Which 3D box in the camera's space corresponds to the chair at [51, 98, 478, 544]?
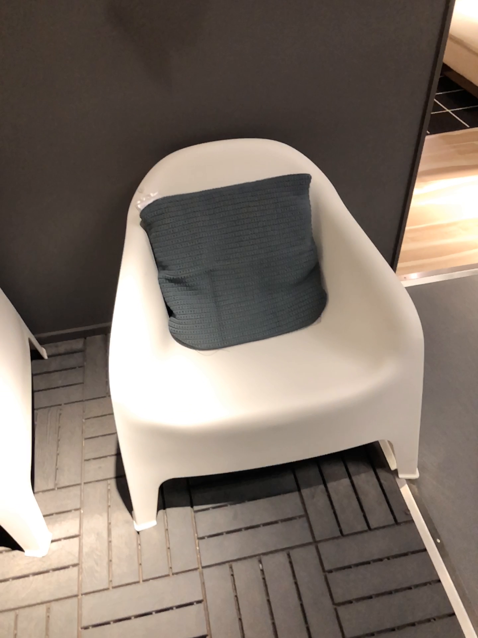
[{"bbox_3d":[0.034,-0.024,1.437,0.830,0.765,0.785,-10,44,-8],"label":"chair"}]
